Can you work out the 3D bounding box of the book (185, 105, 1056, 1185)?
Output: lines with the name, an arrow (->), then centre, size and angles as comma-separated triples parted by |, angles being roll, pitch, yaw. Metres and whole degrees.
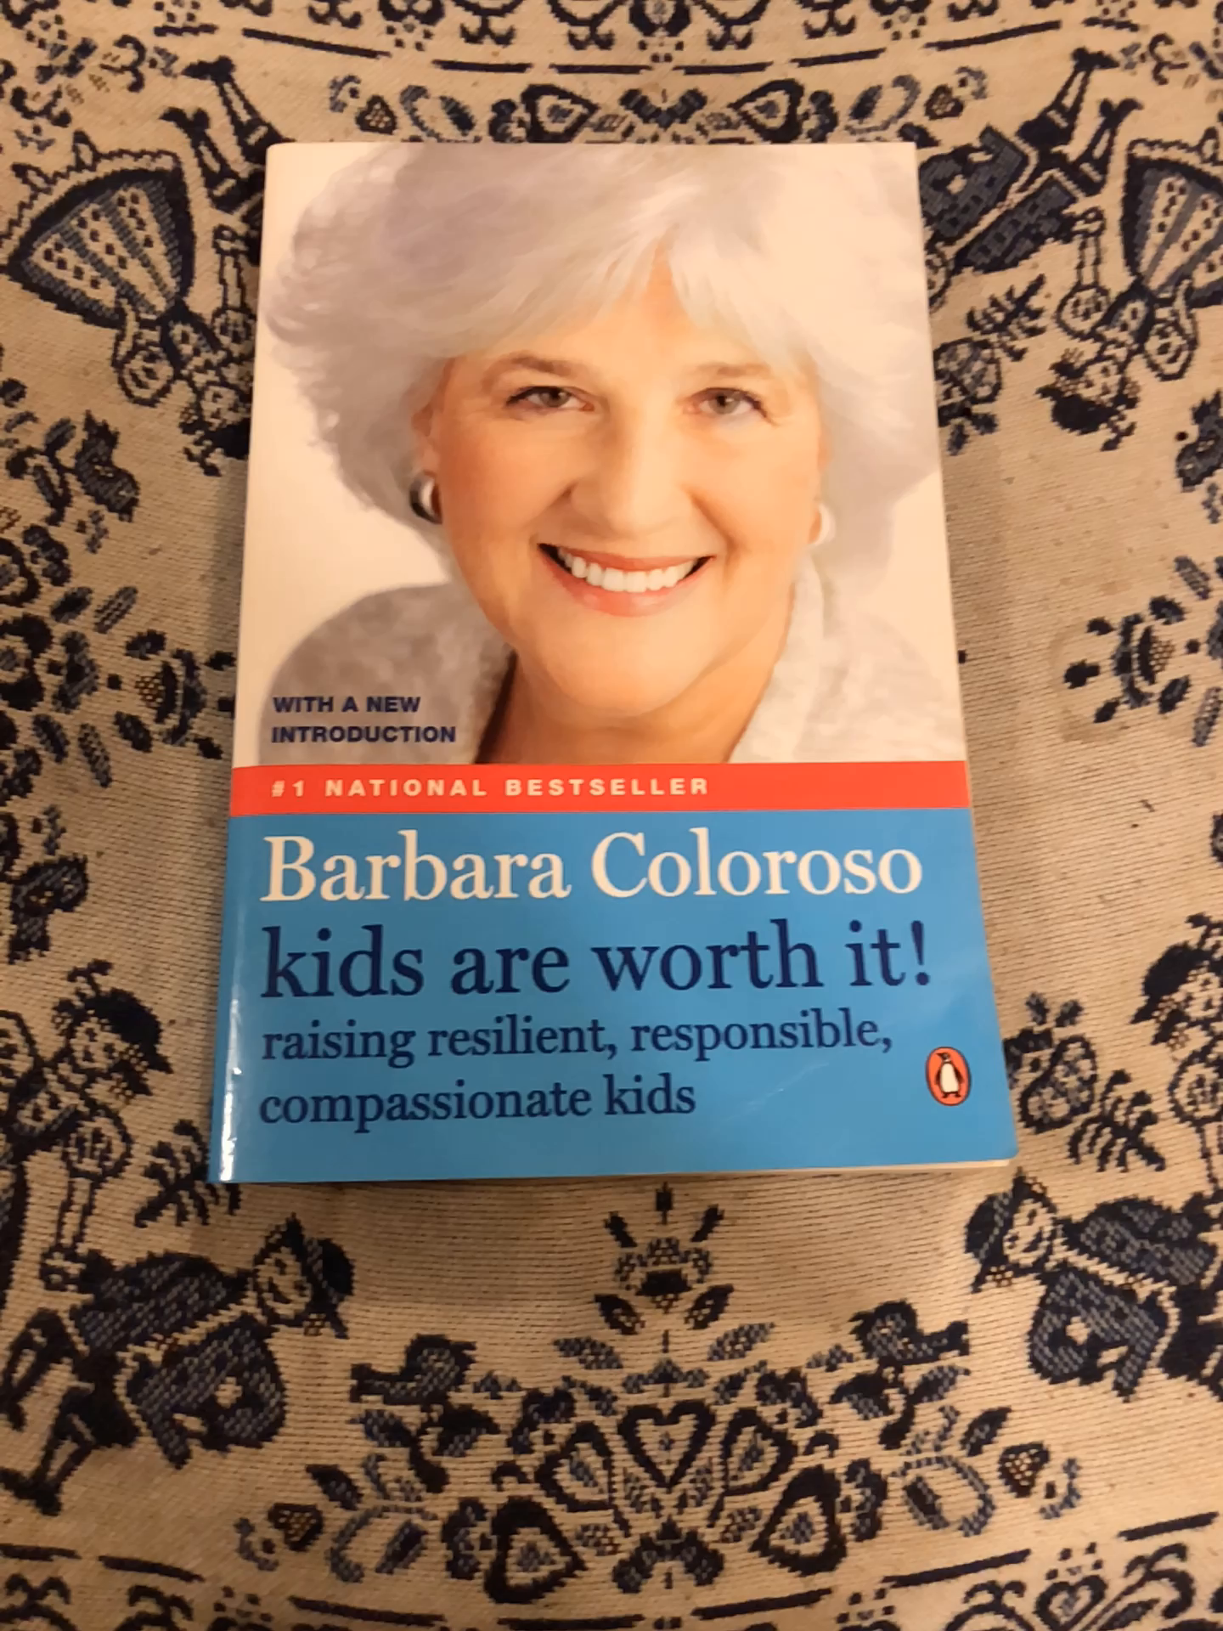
book -> 0.001, -0.037, 0.286 | 0.150, 0.050, 0.220 | 0, 75, -2
